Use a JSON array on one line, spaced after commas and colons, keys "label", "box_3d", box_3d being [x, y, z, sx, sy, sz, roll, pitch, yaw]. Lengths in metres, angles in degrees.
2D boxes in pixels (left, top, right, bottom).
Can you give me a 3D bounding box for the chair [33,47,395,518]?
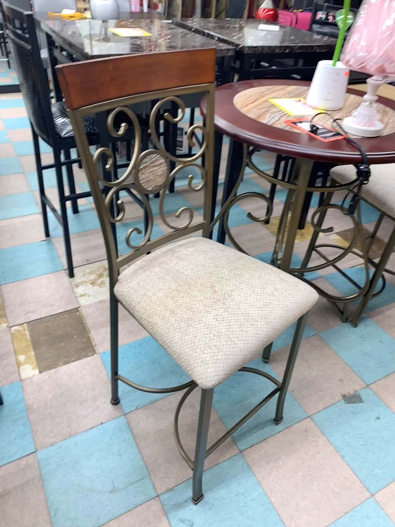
[{"label": "chair", "box_3d": [0.014, 0.067, 1.116, 0.511, 1.074, 0.562, -27, 47, -34]}]
